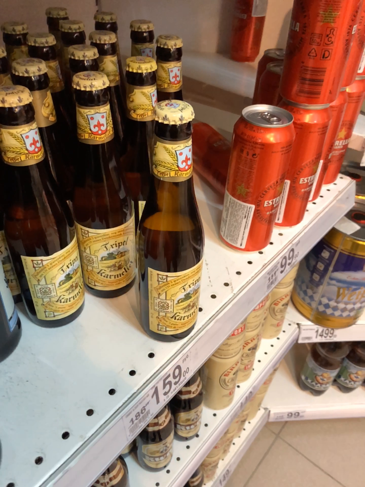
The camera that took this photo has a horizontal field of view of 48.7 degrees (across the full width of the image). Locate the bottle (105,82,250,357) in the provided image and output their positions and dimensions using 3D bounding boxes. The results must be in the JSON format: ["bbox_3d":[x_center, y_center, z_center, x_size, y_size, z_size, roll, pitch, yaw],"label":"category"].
[{"bbox_3d":[-0.009,-0.010,0.346,0.070,0.219,0.070,3,40,-2],"label":"bottle"}]
